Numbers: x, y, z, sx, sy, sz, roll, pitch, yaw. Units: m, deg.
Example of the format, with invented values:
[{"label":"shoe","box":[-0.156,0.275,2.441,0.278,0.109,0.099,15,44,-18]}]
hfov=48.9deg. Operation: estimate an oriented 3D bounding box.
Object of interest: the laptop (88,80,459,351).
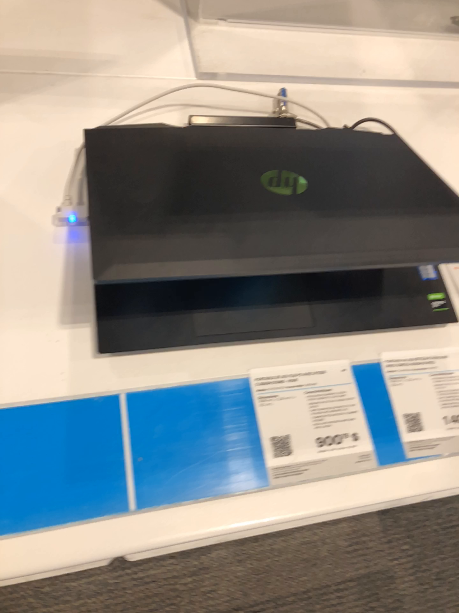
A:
[{"label":"laptop","box":[0.049,-0.094,0.479,0.339,0.064,0.221,-4,71,-15]}]
